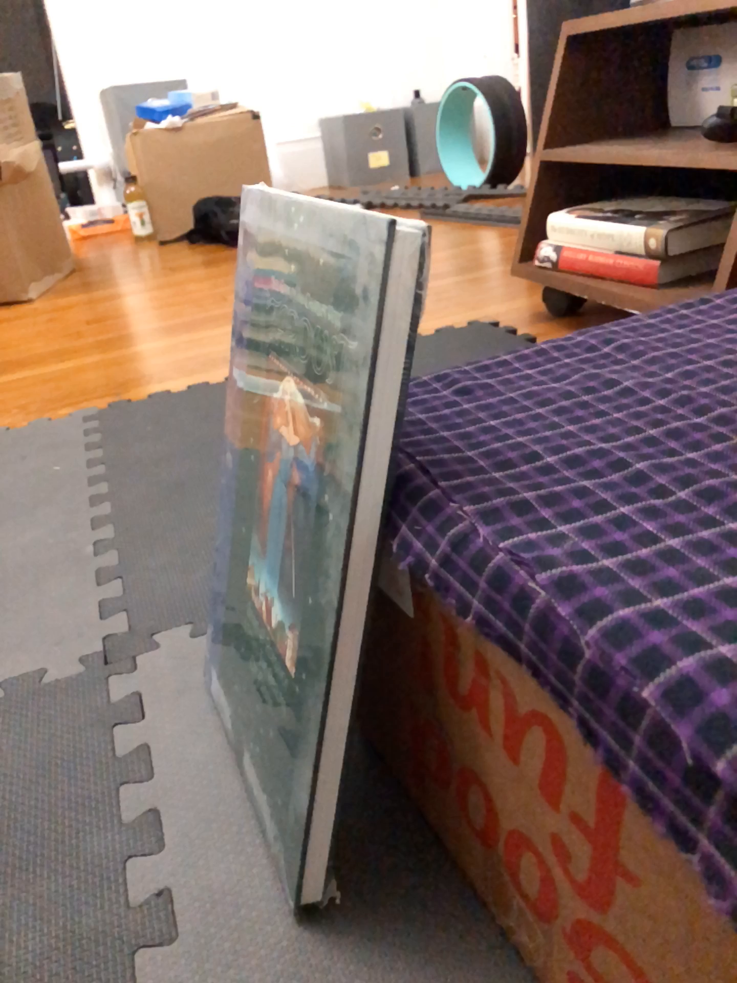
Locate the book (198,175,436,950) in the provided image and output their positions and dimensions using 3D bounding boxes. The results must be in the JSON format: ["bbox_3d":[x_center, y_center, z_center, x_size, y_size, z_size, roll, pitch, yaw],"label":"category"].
[{"bbox_3d":[-0.047,0.017,0.413,0.020,0.329,0.211,0,20,-23],"label":"book"}]
